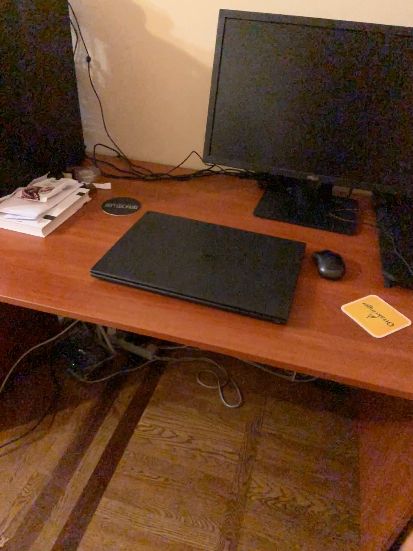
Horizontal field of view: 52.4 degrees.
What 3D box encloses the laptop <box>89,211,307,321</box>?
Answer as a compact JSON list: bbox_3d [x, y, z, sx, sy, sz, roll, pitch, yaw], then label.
[{"bbox_3d":[-0.001,-0.036,0.817,0.360,0.002,0.249,14,37,12],"label":"laptop"}]
